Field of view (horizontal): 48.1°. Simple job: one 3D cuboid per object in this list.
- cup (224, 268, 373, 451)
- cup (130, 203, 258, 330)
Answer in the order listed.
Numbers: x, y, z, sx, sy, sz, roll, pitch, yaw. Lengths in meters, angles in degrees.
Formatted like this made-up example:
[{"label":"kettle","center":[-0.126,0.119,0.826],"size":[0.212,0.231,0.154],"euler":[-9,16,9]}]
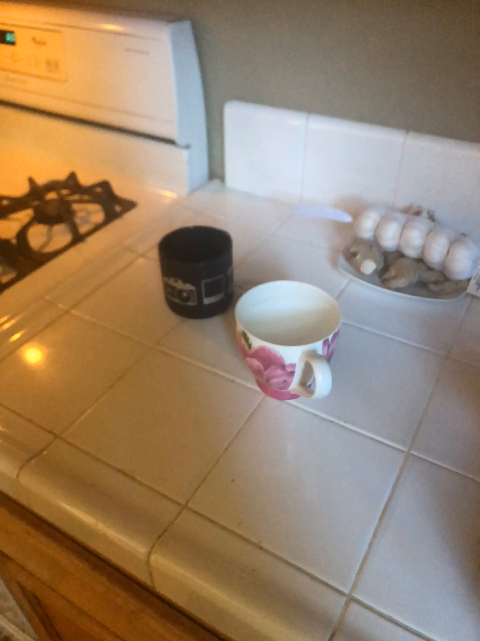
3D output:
[{"label":"cup","center":[0.050,0.033,0.541],"size":[0.100,0.089,0.151],"euler":[-9,40,-10]},{"label":"cup","center":[-0.052,-0.074,0.685],"size":[0.100,0.079,0.141],"euler":[16,42,20]}]
